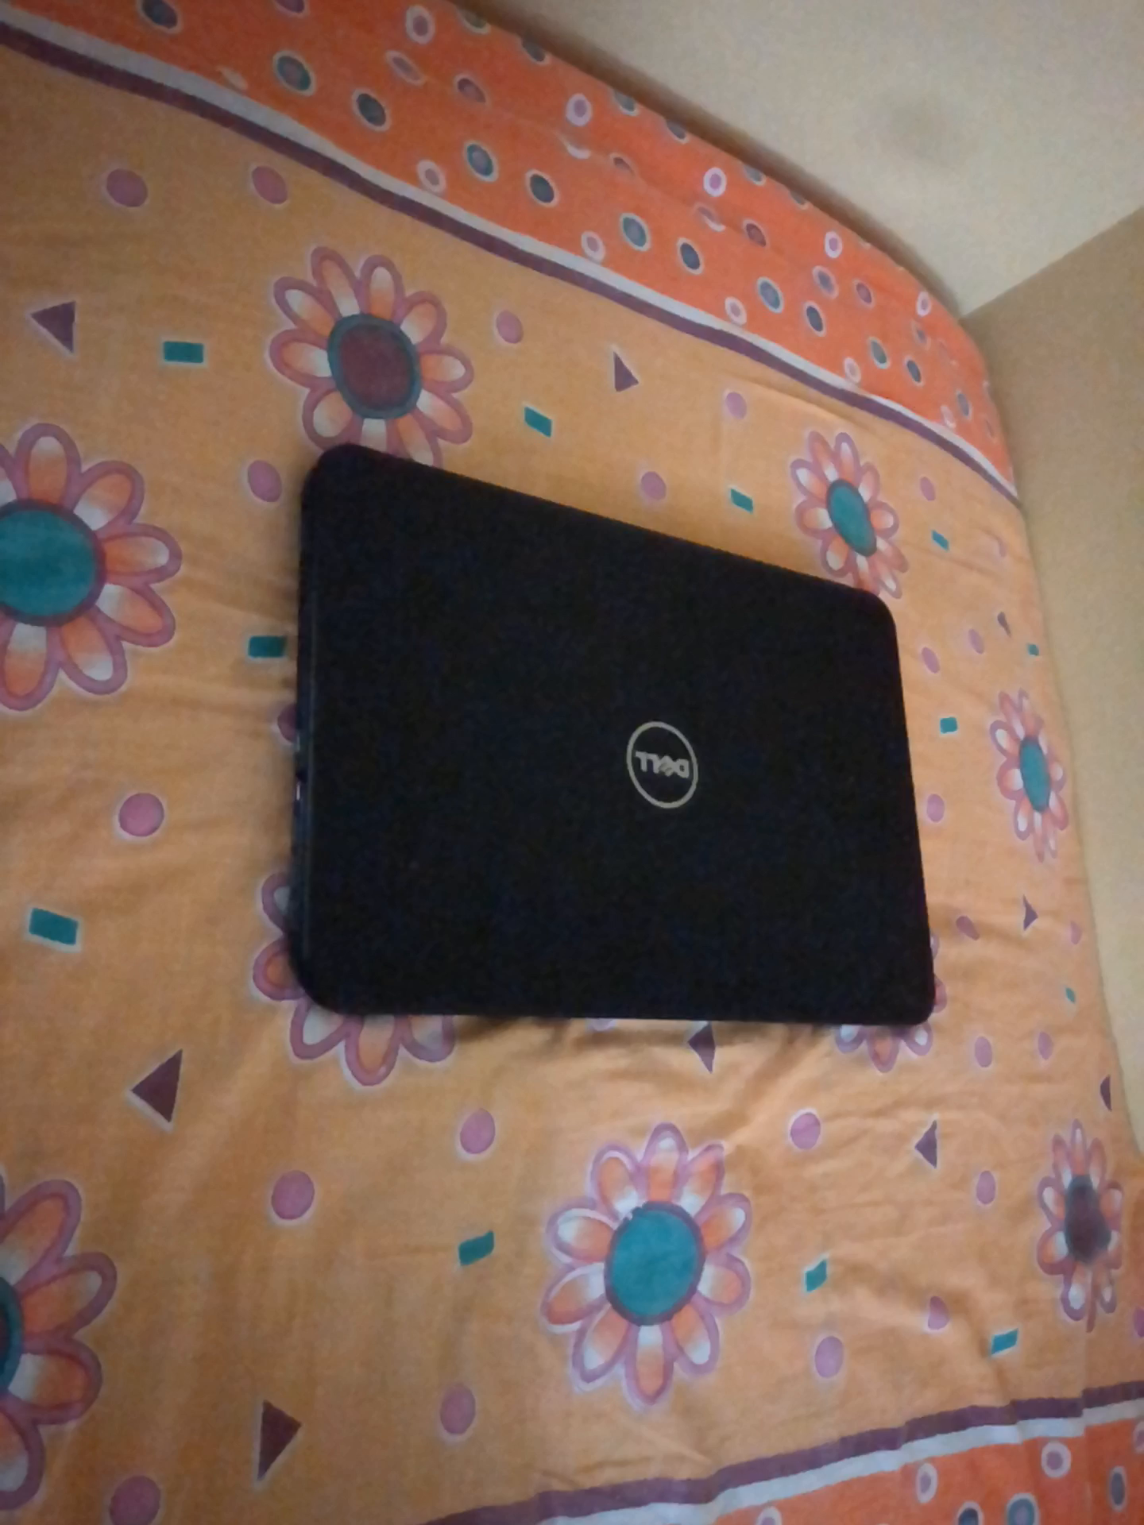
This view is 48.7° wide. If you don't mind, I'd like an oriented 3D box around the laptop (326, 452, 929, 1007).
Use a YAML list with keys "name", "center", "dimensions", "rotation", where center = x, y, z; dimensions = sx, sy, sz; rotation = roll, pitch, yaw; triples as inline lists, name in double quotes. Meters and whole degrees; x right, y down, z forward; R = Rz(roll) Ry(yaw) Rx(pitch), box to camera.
- name: "laptop"
  center: [0.046, -0.001, 0.635]
  dimensions: [0.360, 0.001, 0.236]
  rotation: [8, 73, -33]
